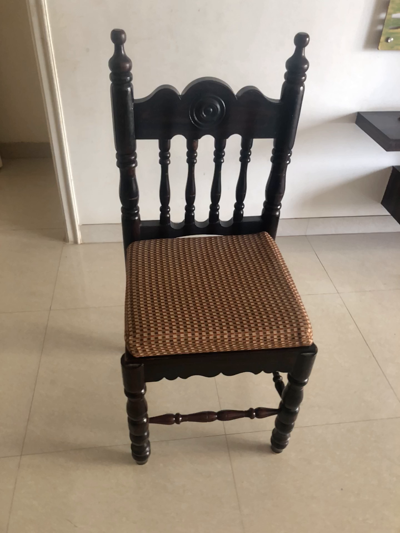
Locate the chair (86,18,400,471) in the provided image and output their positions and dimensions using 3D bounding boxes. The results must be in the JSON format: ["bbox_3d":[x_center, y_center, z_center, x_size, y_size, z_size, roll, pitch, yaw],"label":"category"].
[{"bbox_3d":[0.042,-0.019,1.156,0.500,1.022,0.564,-2,38,-6],"label":"chair"}]
